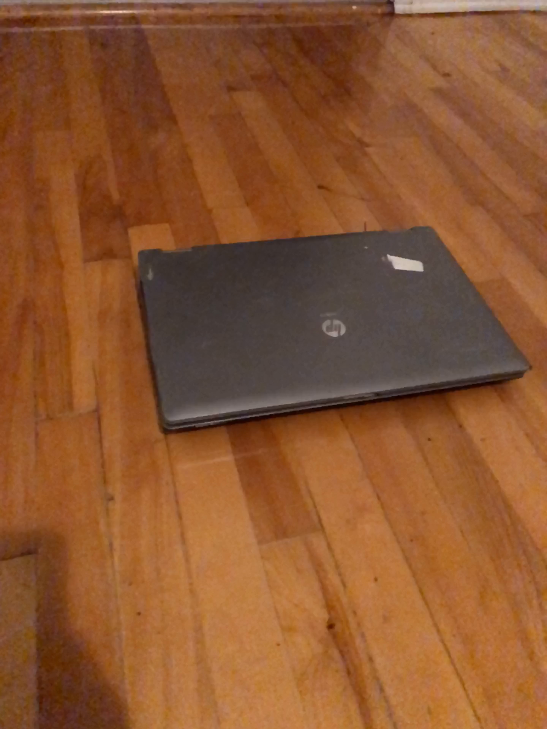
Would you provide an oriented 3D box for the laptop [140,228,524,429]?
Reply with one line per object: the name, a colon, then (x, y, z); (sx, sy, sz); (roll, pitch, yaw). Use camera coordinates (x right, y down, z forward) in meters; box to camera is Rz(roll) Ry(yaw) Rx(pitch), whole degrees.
laptop: (0.052, -0.059, 0.654); (0.363, 0.010, 0.241); (-8, 50, -13)
